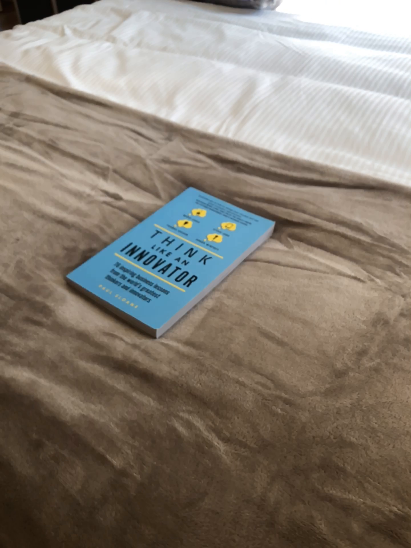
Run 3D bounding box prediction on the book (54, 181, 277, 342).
[{"bbox_3d":[-0.038,-0.030,0.520,0.140,0.020,0.221,26,49,29],"label":"book"}]
